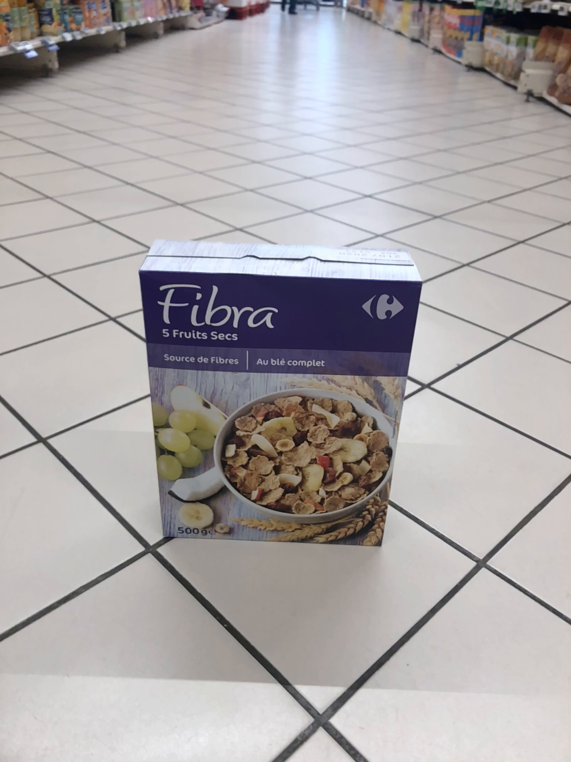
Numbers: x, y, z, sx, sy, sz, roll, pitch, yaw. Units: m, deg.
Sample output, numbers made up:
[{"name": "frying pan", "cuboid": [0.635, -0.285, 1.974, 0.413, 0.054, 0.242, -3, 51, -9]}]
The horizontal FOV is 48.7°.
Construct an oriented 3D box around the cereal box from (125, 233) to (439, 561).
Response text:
[{"name": "cereal box", "cuboid": [-0.007, 0.022, 0.523, 0.210, 0.258, 0.080, 3, 31, -1]}]
